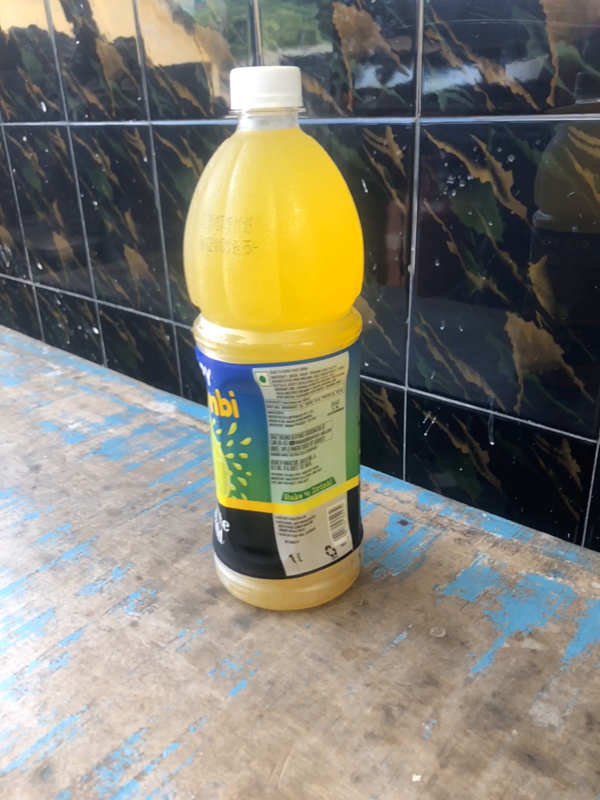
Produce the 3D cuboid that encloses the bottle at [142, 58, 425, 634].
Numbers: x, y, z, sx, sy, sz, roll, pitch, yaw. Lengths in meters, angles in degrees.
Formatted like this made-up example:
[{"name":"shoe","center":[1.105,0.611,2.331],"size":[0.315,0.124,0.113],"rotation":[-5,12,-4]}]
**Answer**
[{"name":"bottle","center":[-0.008,-0.024,0.327],"size":[0.100,0.249,0.090],"rotation":[-8,24,-12]}]
